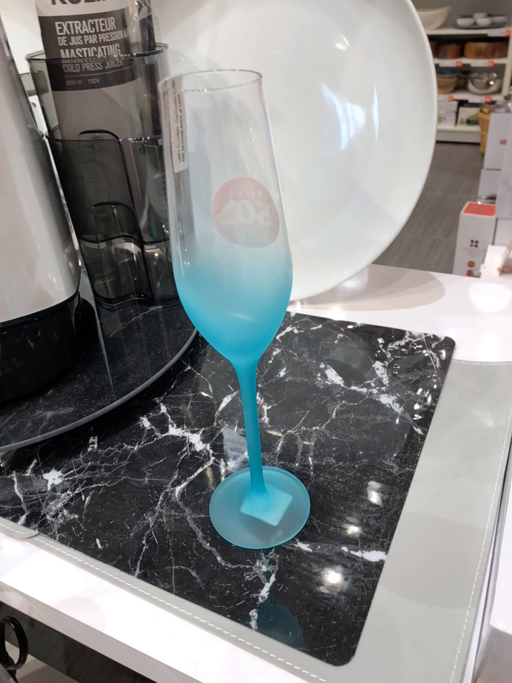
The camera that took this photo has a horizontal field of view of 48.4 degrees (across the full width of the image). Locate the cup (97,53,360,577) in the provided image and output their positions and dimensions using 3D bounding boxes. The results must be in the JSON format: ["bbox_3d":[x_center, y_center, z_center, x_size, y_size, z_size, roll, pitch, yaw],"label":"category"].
[{"bbox_3d":[-0.003,-0.001,0.279,0.070,0.239,0.070,-3,34,2],"label":"cup"}]
